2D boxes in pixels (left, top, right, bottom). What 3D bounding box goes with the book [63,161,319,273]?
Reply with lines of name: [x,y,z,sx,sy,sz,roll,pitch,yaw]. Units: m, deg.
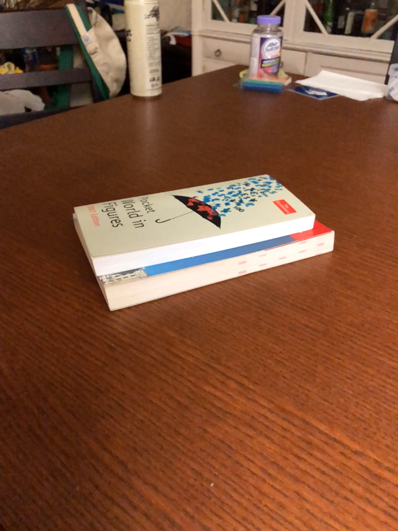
book: [-0.010,-0.050,0.388,0.200,0.020,0.101,-12,37,-17]

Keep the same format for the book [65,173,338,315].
book: [-0.004,-0.033,0.405,0.210,0.020,0.141,-14,38,-19]
